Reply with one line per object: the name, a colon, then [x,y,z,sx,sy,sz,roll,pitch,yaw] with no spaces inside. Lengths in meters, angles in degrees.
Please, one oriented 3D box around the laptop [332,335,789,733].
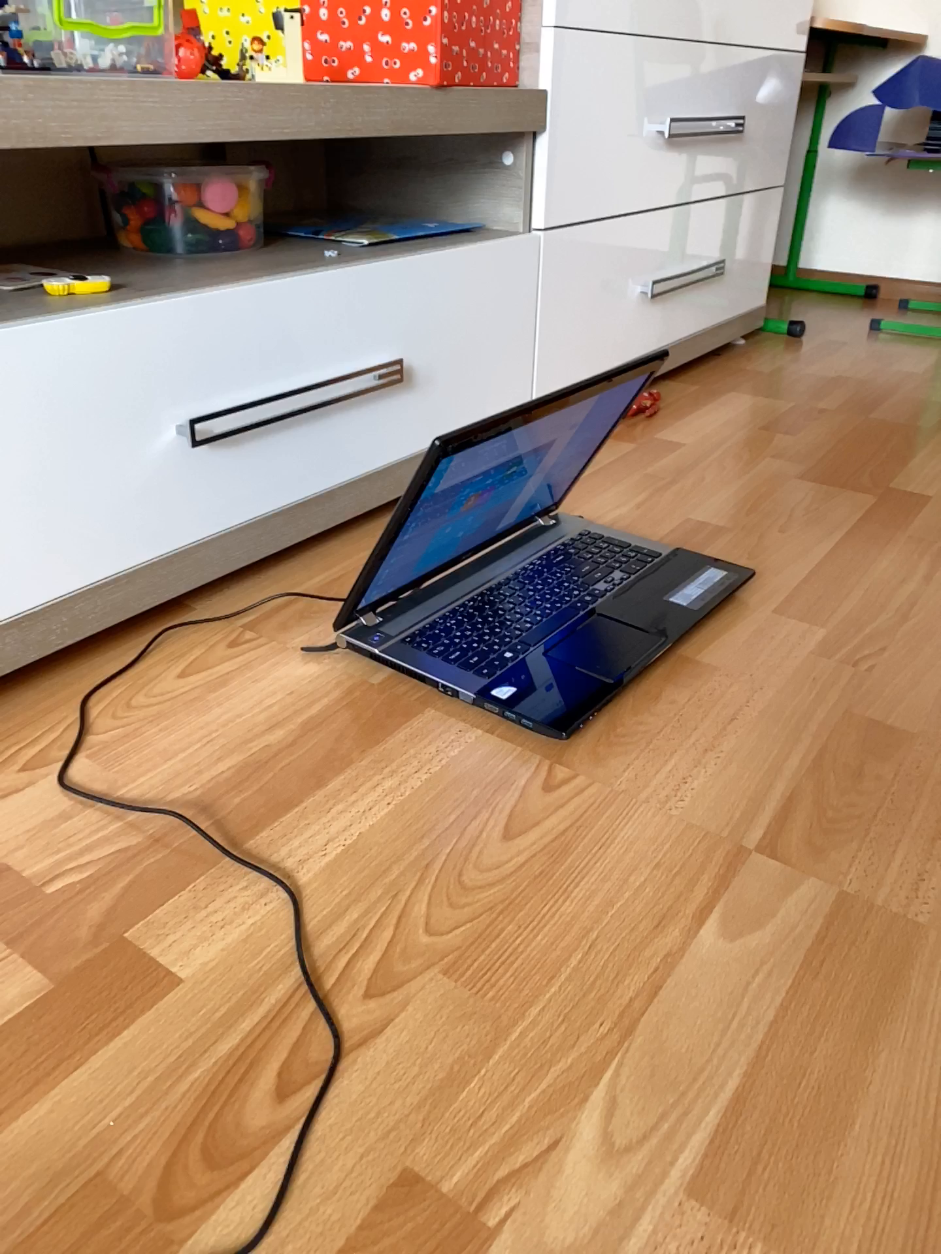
laptop: [0.102,-0.130,0.987,0.269,0.233,0.413,21,34,32]
